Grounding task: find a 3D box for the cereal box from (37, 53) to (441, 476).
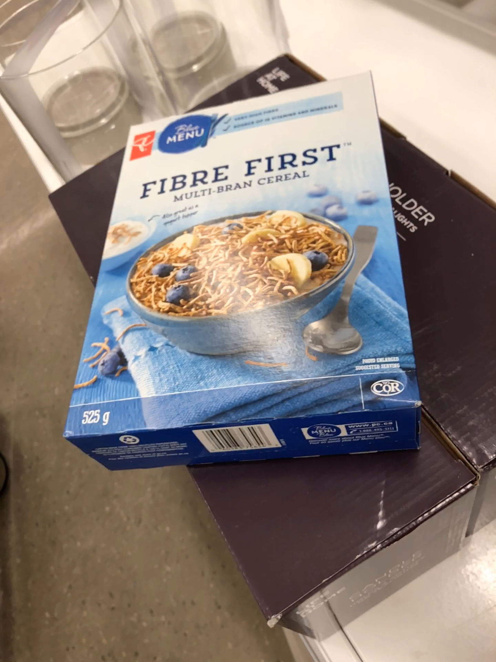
[{"bbox_3d":[-0.003,-0.050,0.357,0.200,0.060,0.260,-7,58,14],"label":"cereal box"}]
